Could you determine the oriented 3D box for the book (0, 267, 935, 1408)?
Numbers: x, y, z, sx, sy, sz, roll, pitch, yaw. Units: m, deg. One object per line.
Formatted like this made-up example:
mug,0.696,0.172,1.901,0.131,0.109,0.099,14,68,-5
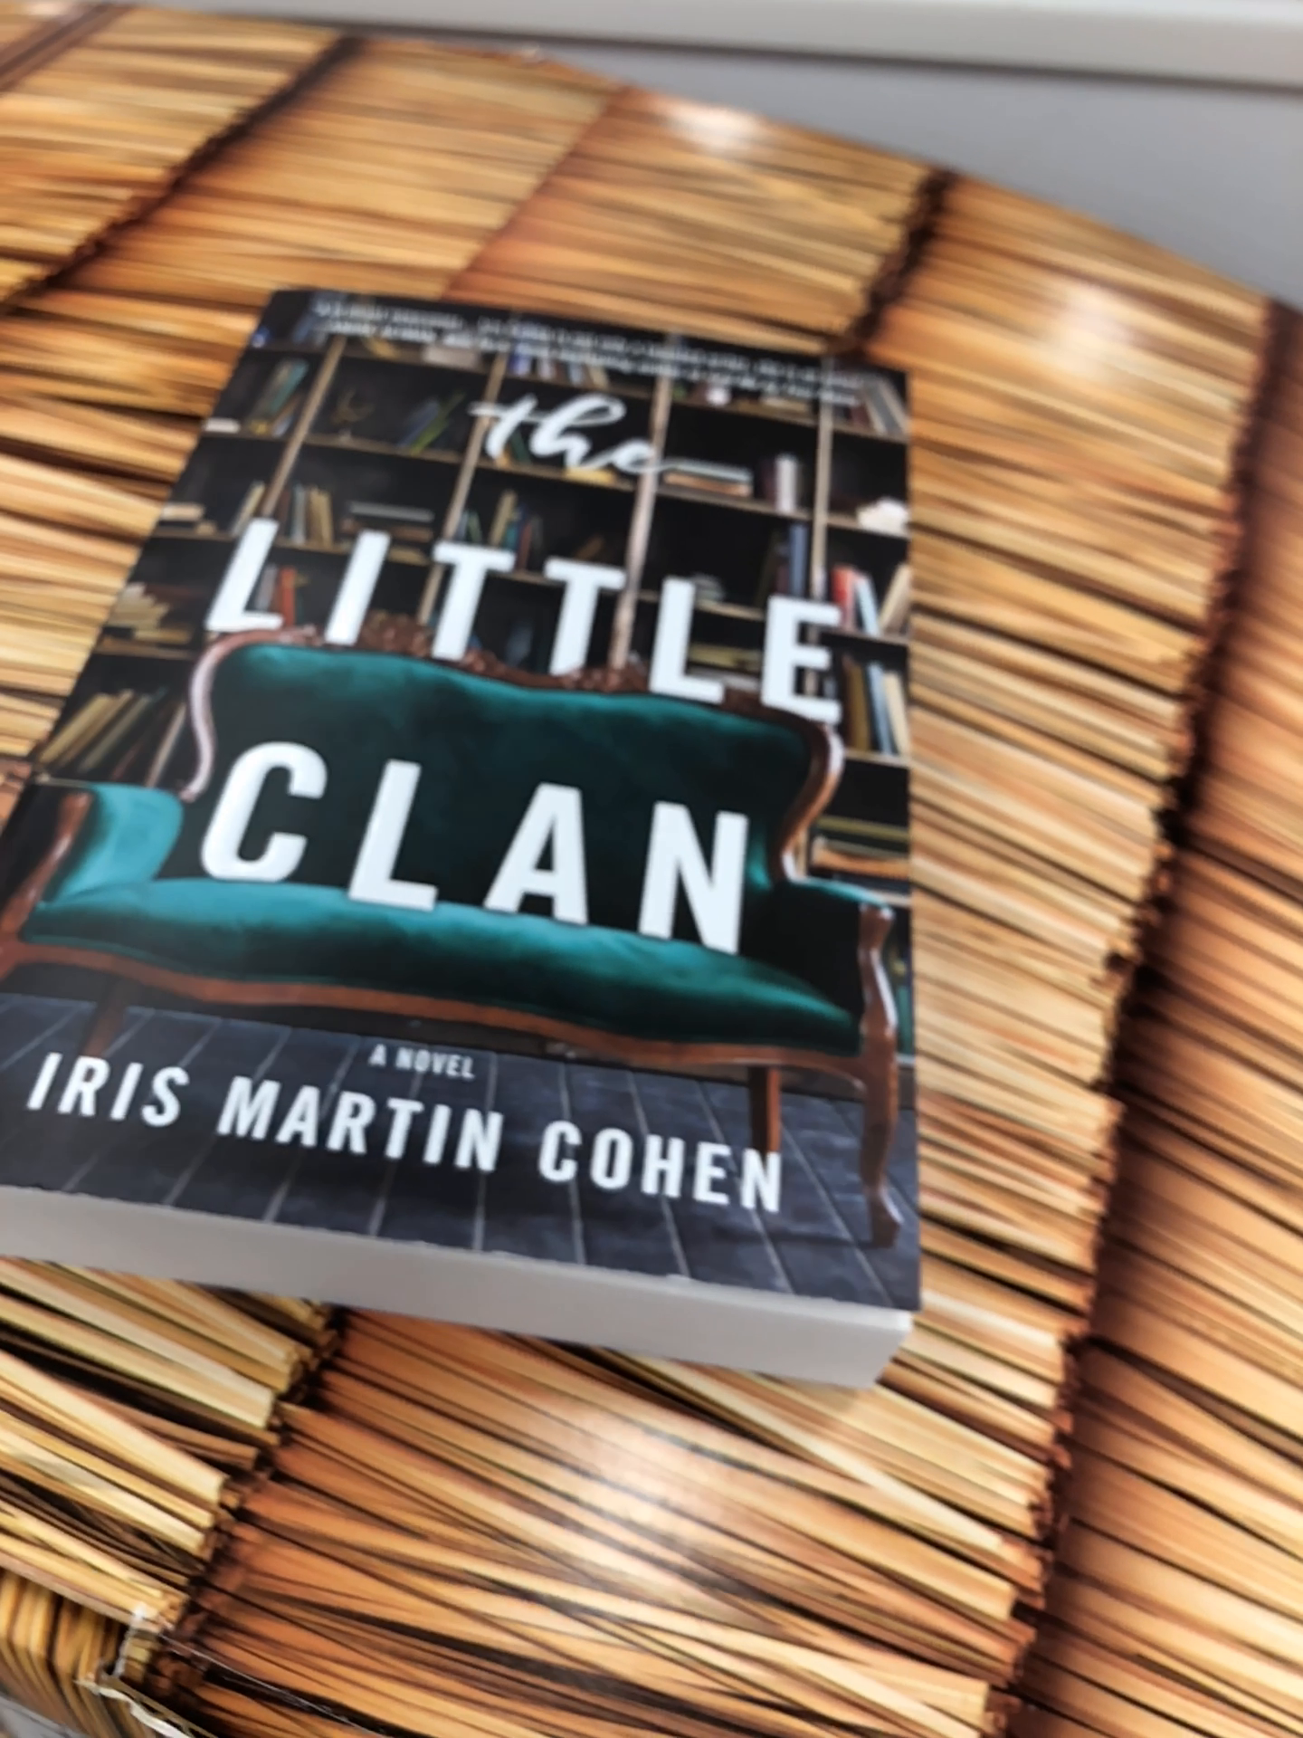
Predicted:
book,-0.024,-0.025,0.233,0.130,0.030,0.191,8,50,1
